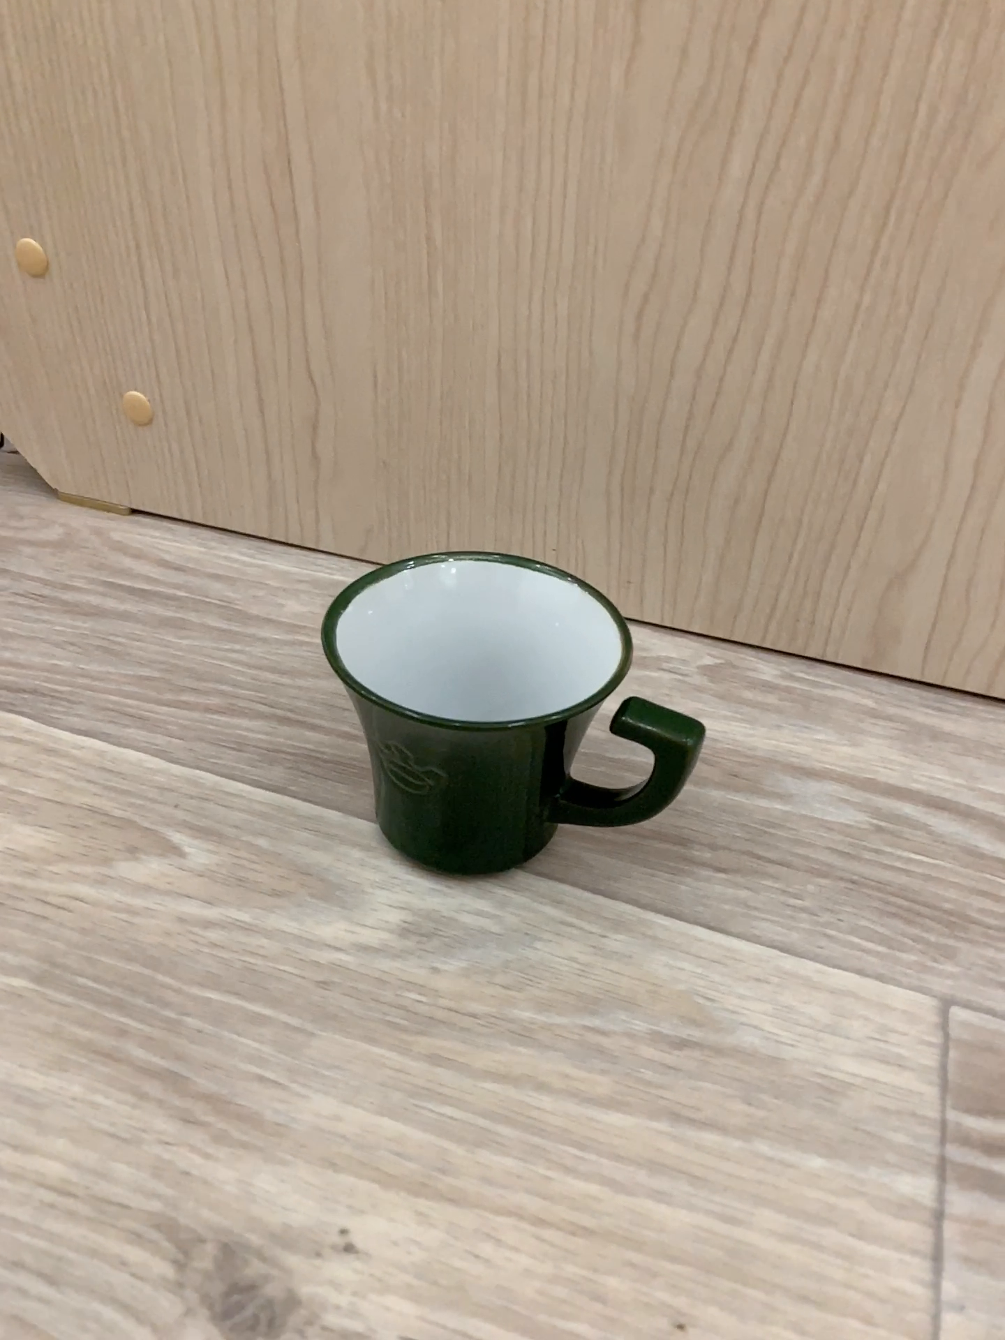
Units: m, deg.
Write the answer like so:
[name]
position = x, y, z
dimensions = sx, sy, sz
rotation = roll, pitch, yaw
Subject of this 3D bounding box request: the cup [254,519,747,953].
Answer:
[cup]
position = 0.001, 0.013, 0.284
dimensions = 0.106, 0.061, 0.075
rotation = 15, 37, 17
